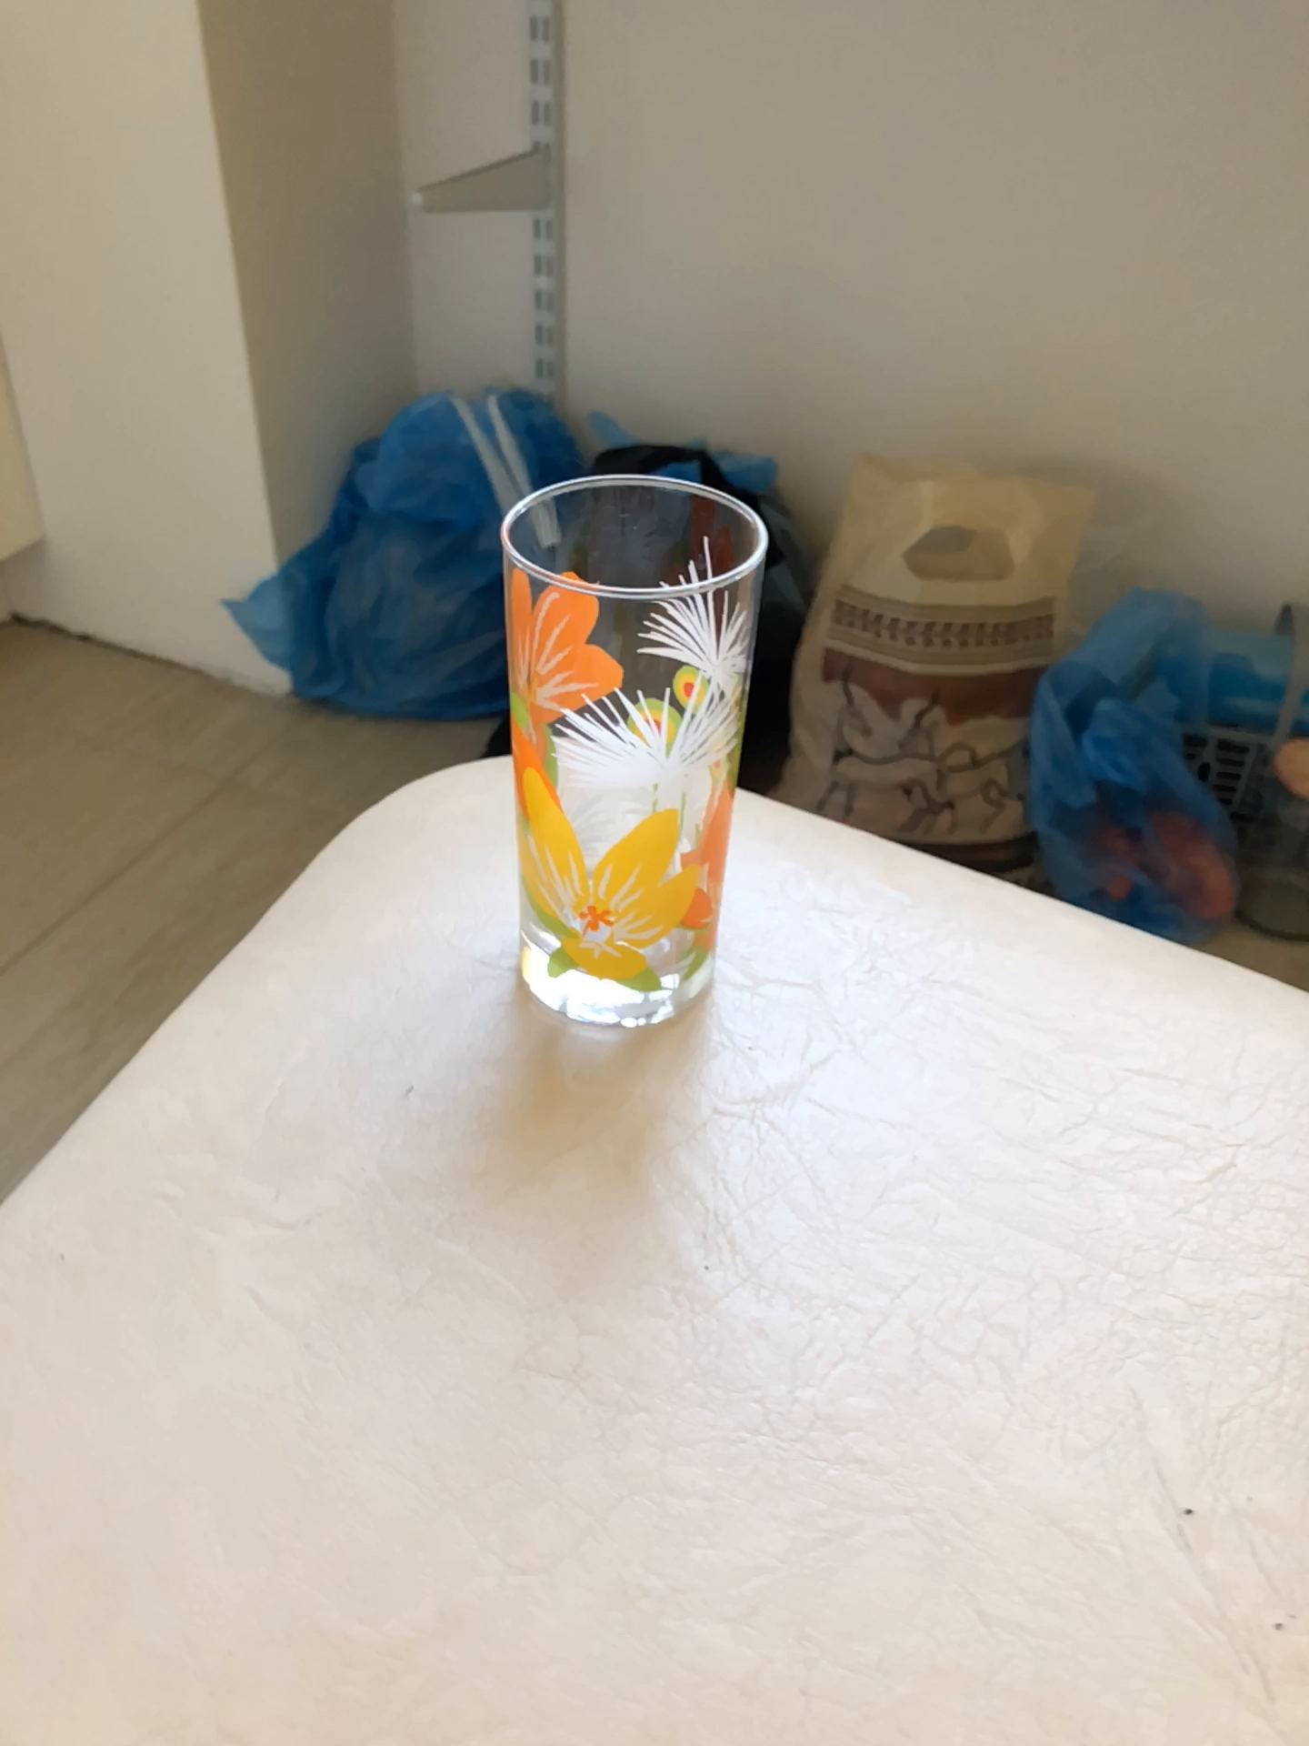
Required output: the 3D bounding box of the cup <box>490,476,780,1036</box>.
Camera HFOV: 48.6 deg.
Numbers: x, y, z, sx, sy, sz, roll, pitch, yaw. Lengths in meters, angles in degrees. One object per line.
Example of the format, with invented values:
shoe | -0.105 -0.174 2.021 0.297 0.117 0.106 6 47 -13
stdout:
cup | -0.008 -0.028 0.379 0.063 0.133 0.061 2 37 -1
